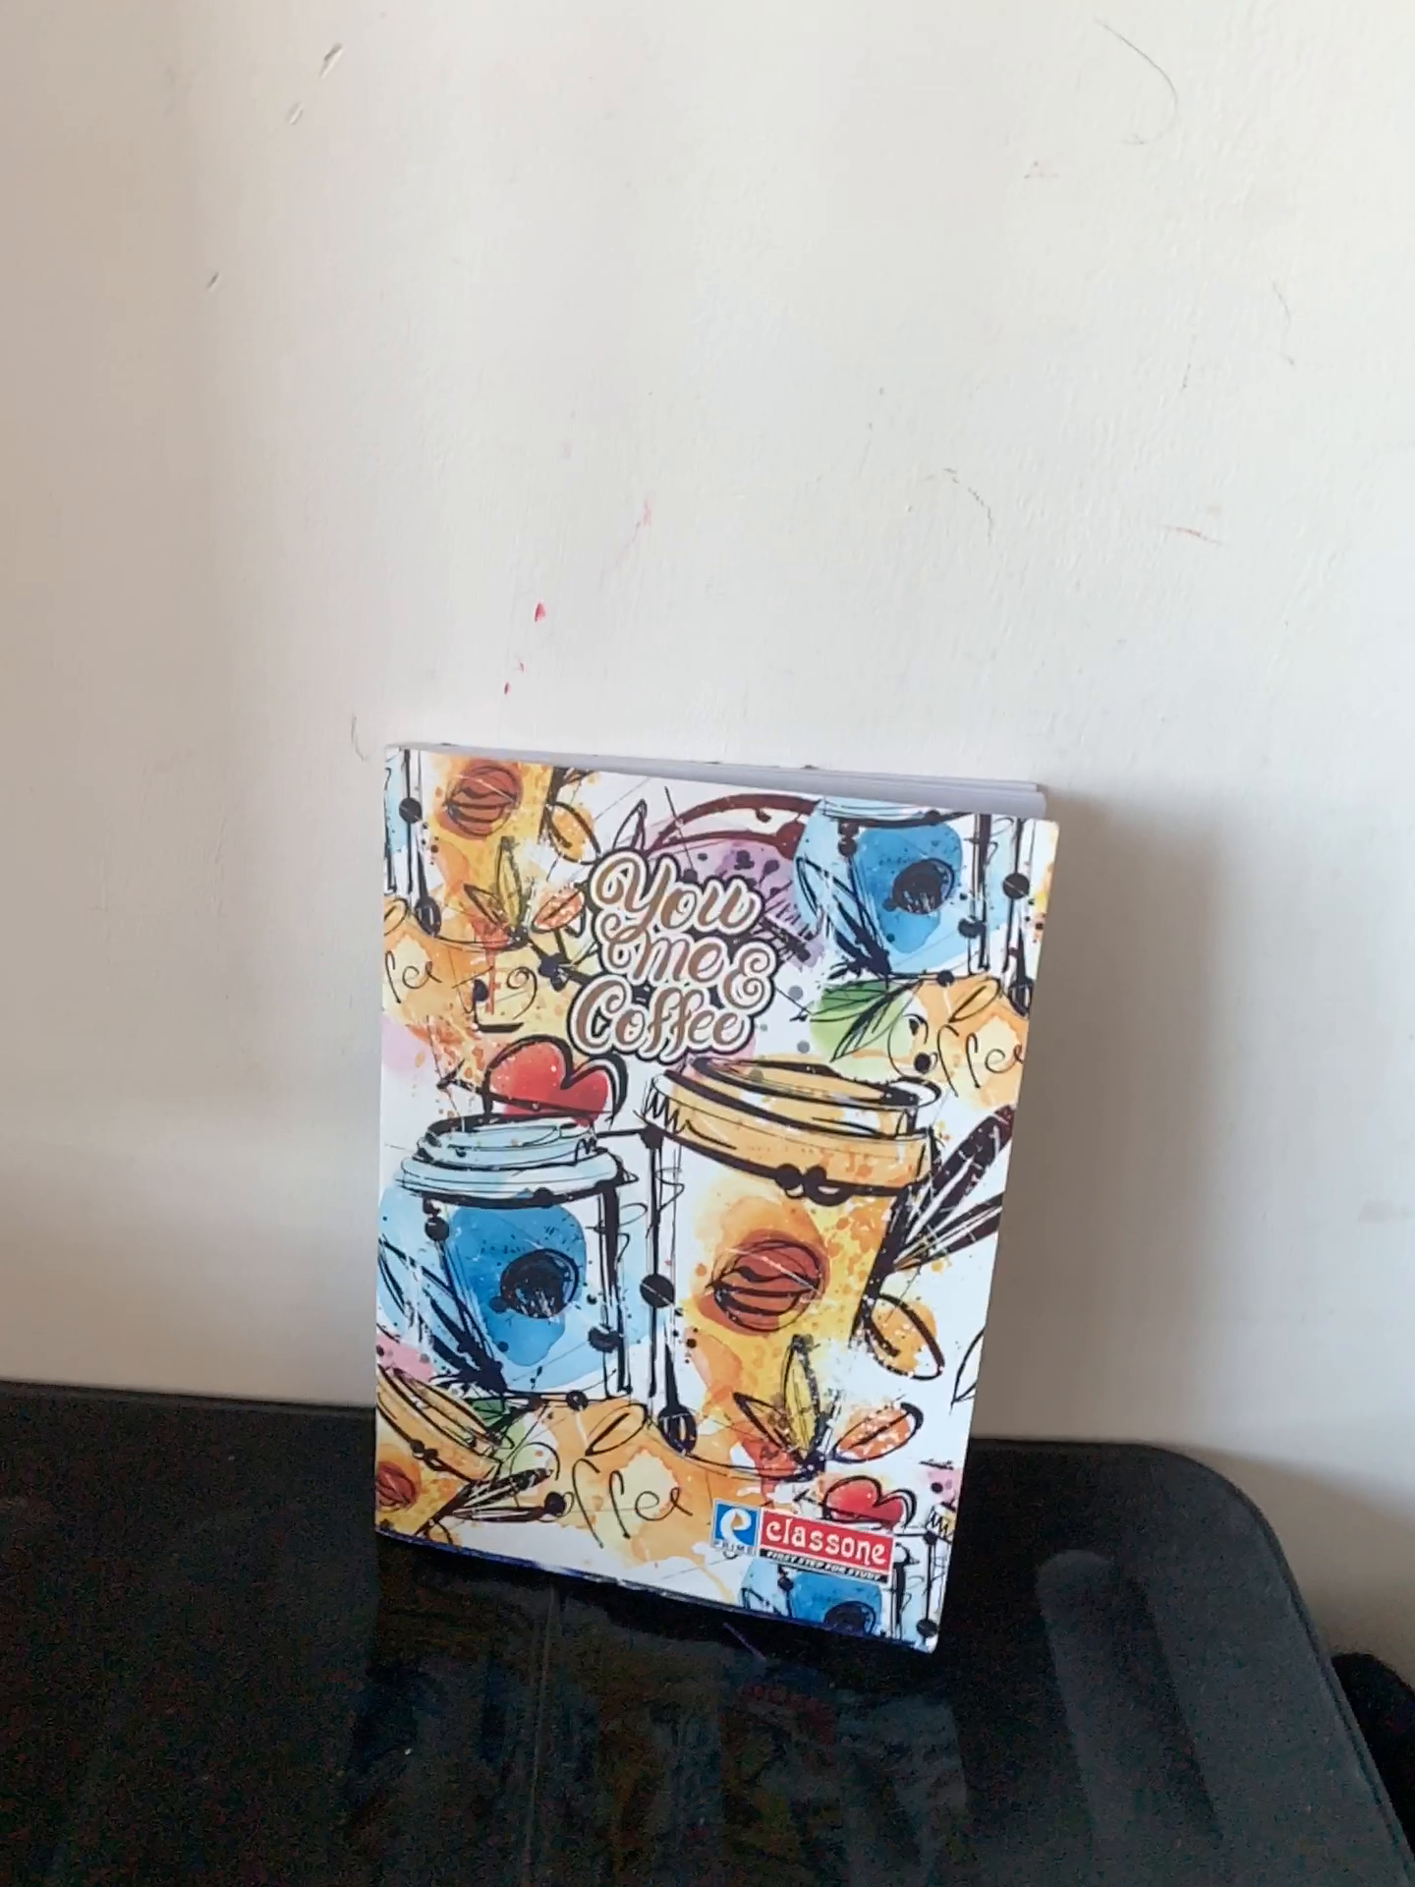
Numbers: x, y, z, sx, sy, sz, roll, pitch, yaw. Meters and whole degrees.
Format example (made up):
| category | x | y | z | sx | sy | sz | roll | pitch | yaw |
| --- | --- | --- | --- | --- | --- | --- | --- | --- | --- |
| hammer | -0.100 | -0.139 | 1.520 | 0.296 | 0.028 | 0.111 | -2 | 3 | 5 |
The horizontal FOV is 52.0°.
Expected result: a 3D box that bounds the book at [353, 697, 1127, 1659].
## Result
| category | x | y | z | sx | sy | sz | roll | pitch | yaw |
| --- | --- | --- | --- | --- | --- | --- | --- | --- | --- |
| book | -0.001 | 0.083 | 0.489 | 0.220 | 0.299 | 0.050 | 8 | 18 | 6 |
